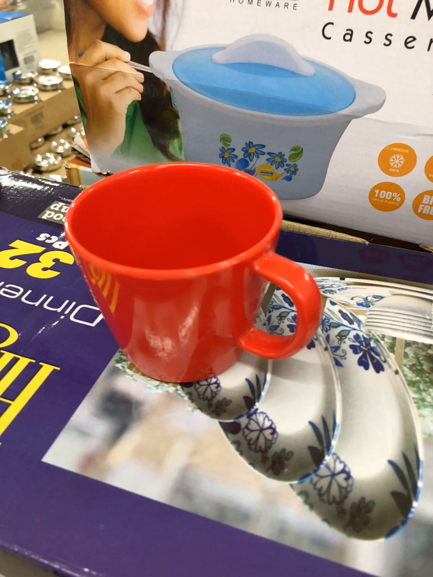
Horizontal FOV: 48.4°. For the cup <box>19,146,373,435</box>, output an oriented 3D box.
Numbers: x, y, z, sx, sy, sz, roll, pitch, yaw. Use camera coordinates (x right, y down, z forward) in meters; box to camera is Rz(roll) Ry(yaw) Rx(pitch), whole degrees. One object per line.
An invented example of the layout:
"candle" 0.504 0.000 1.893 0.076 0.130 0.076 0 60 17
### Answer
"cup" -0.002 -0.007 0.183 0.100 0.050 0.081 14 41 14
